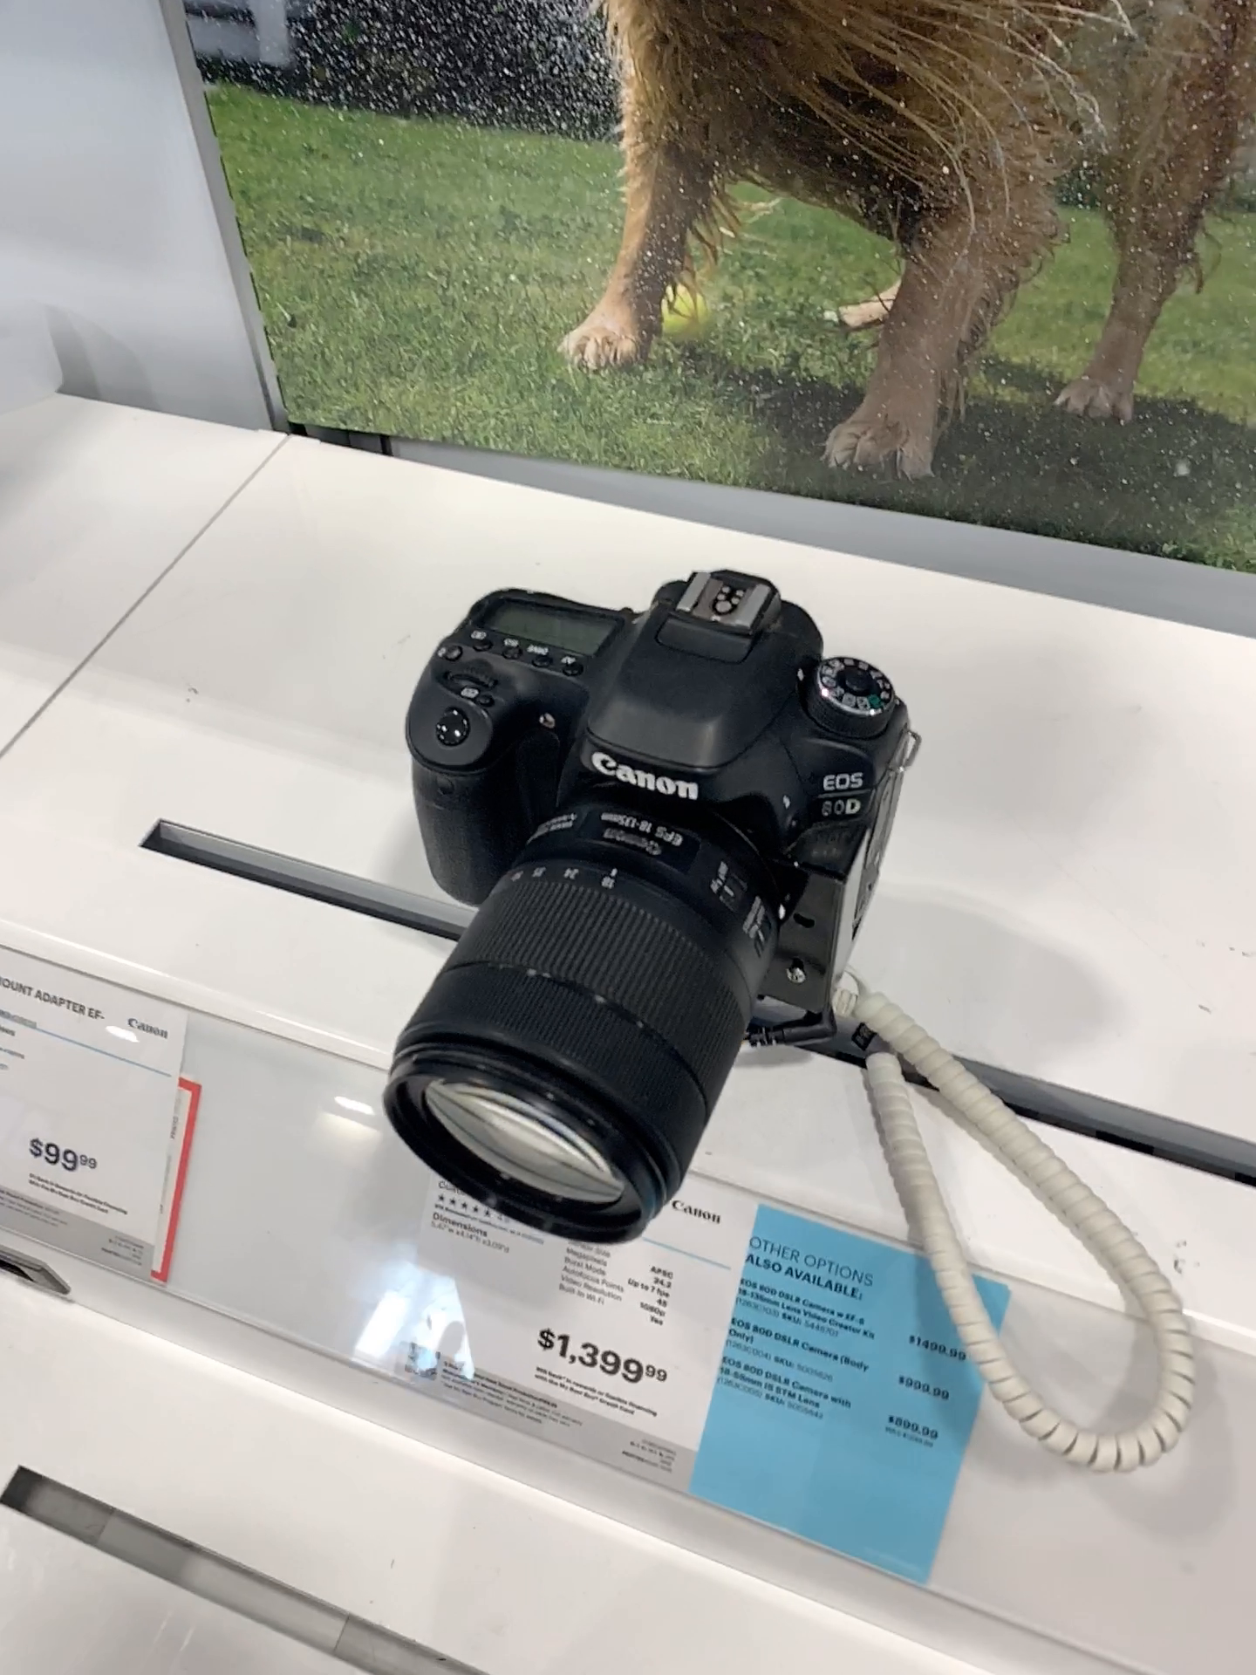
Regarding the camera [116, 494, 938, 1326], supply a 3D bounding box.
[{"bbox_3d":[-0.012,0.011,0.337,0.140,0.100,0.160,14,53,14],"label":"camera"}]
